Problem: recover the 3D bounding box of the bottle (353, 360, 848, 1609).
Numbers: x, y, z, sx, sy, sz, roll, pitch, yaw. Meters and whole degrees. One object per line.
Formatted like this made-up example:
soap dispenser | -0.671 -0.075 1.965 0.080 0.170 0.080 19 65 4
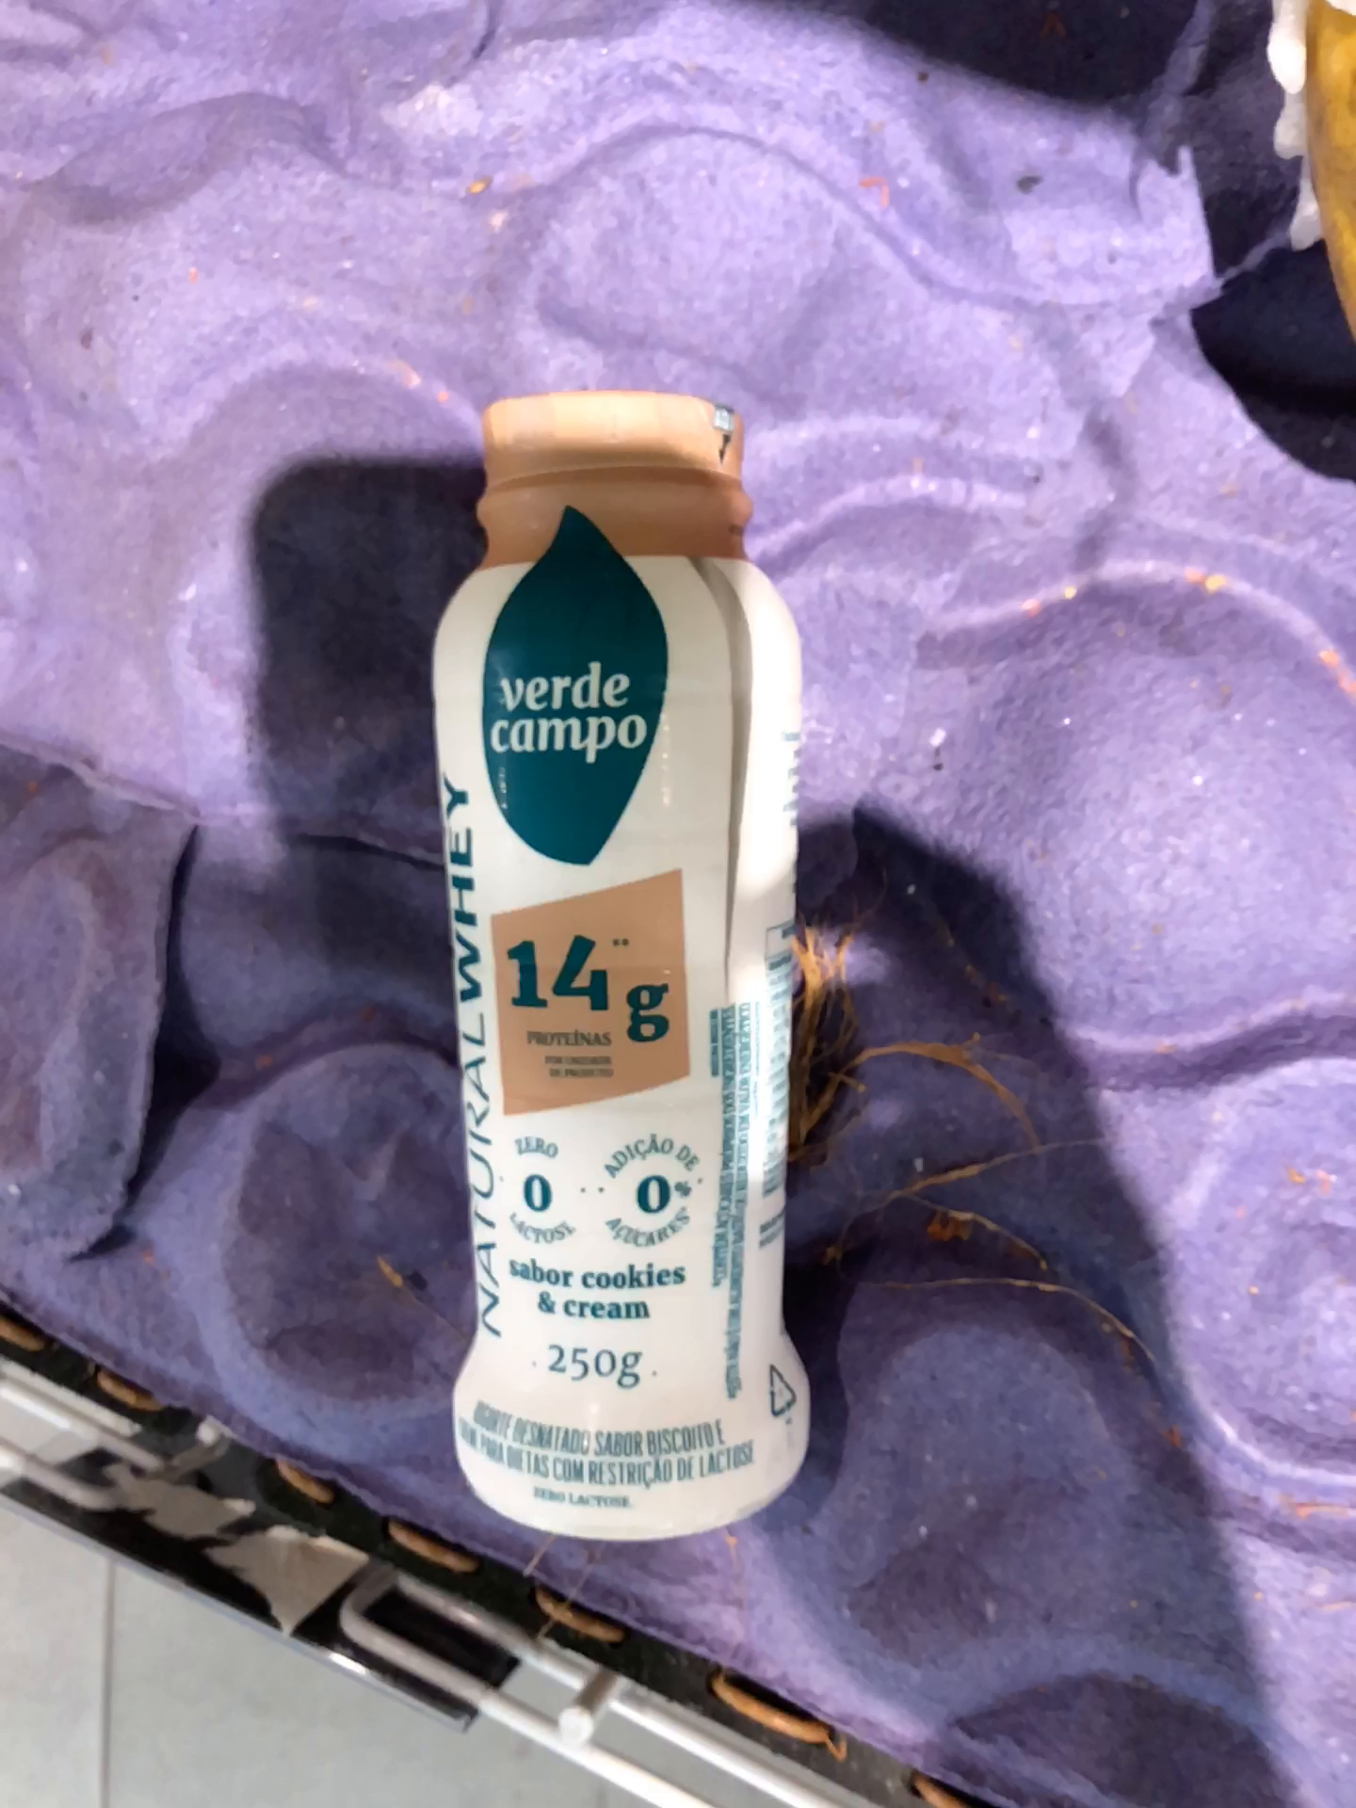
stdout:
bottle | -0.007 0.012 0.217 0.060 0.040 0.160 0 96 8
